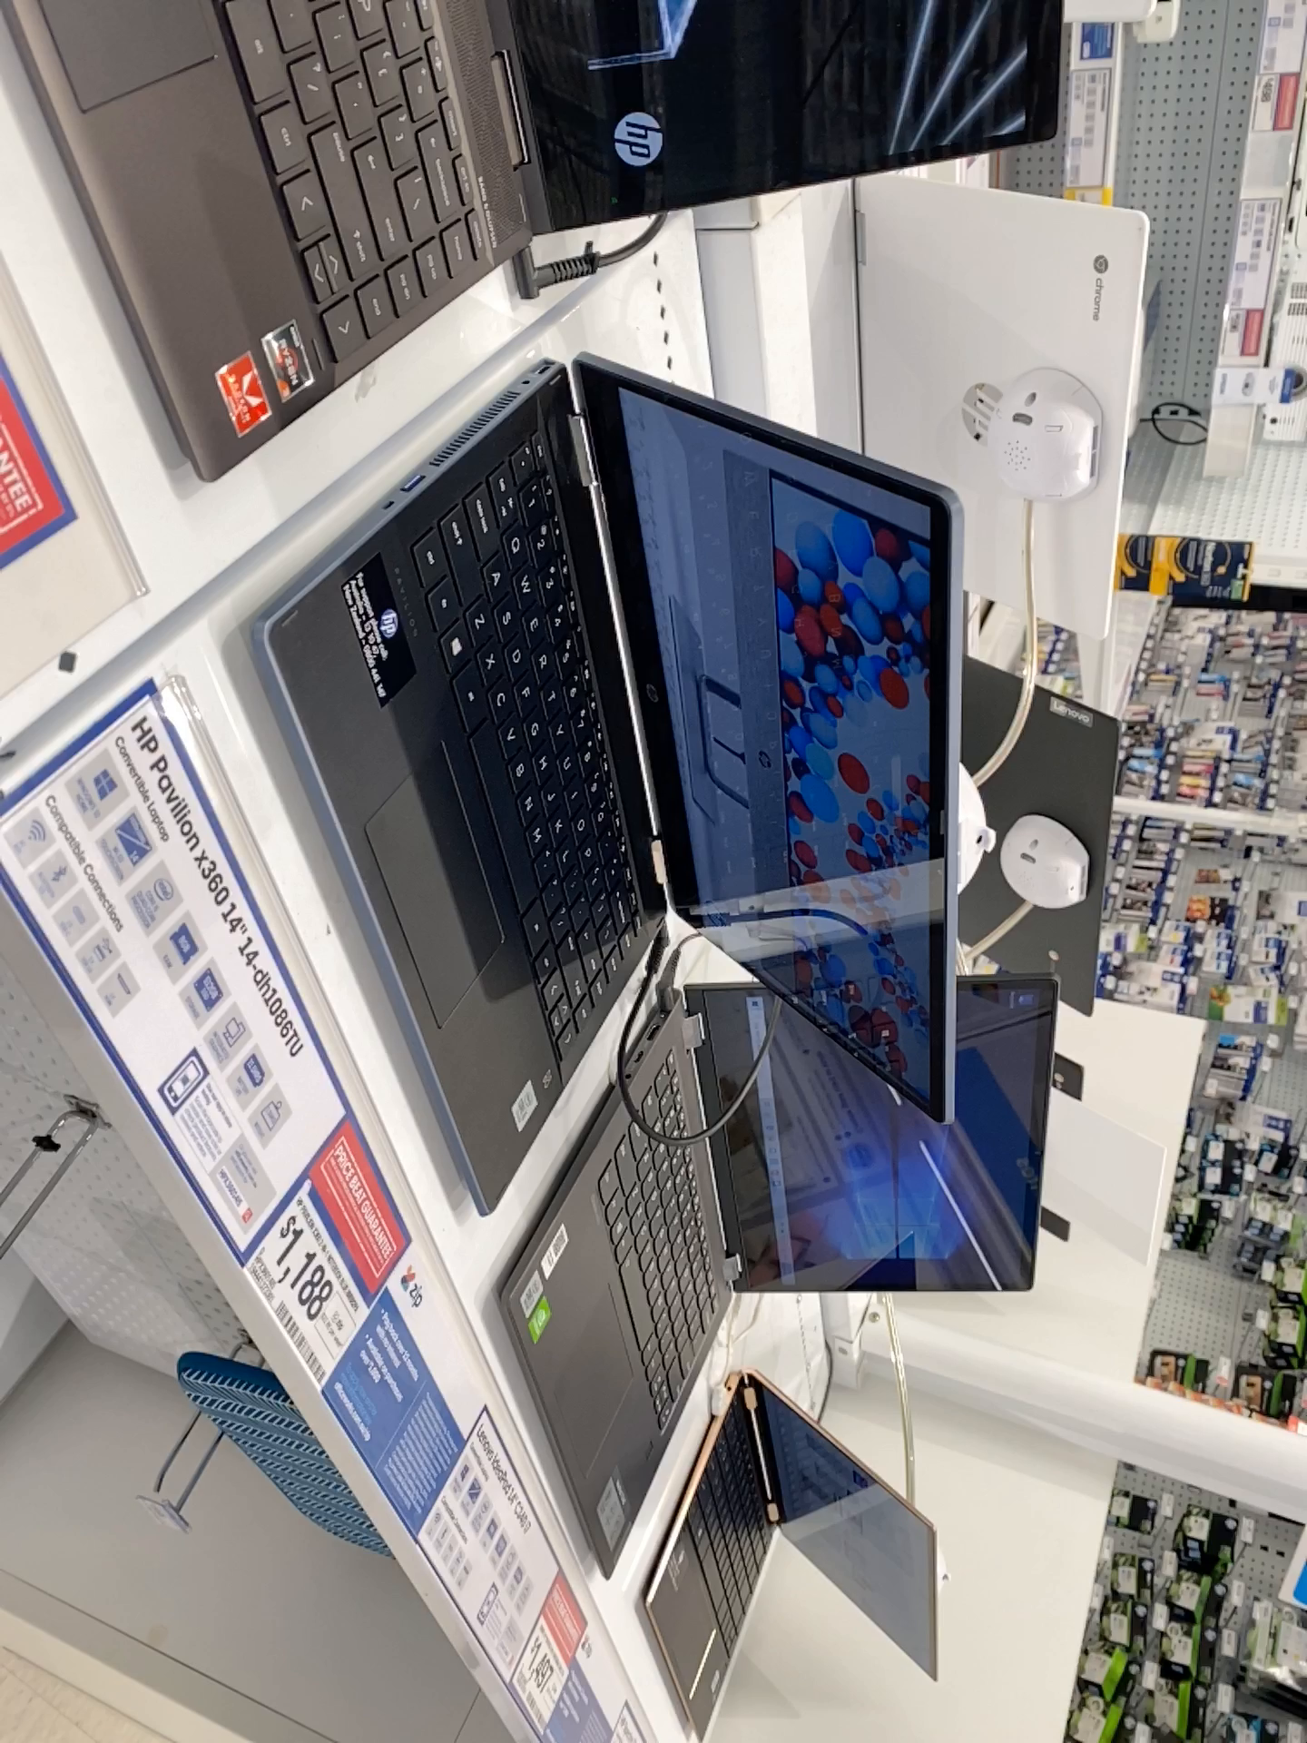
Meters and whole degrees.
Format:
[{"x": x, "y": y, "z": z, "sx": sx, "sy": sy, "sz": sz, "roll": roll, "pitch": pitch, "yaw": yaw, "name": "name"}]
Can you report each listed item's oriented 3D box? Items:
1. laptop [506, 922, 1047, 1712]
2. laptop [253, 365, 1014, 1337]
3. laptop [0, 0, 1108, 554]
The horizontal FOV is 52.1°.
[{"x": 0.101, "y": 0.259, "z": 0.817, "sx": 0.294, "sy": 0.199, "sz": 0.307, "roll": -56, "pitch": 146, "yaw": -42, "name": "laptop"}, {"x": 0.025, "y": -0.009, "z": 0.553, "sx": 0.314, "sy": 0.189, "sz": 0.211, "roll": 79, "pitch": 31, "yaw": -41, "name": "laptop"}, {"x": -0.012, "y": -0.320, "z": 0.356, "sx": 0.325, "sy": 0.173, "sz": 0.327, "roll": -56, "pitch": 146, "yaw": -40, "name": "laptop"}]
